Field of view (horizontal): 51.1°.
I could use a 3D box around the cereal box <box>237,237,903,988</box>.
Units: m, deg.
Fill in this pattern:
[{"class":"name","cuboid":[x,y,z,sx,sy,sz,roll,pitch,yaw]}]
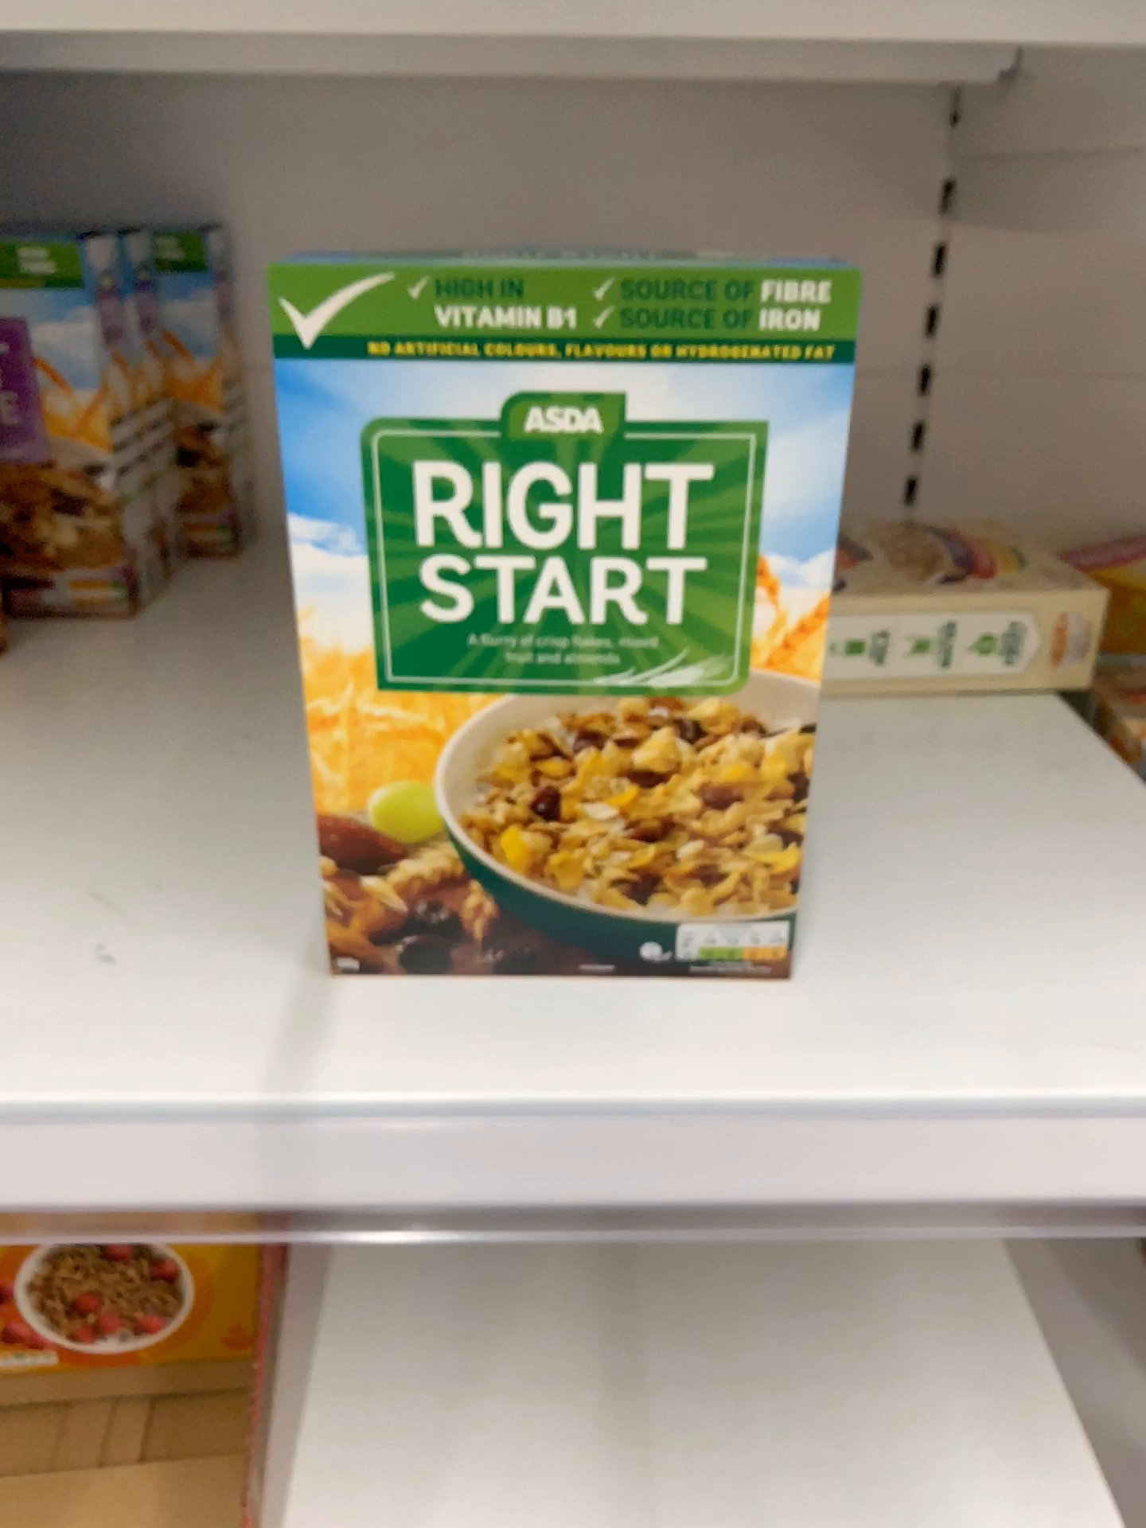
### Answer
[{"class":"cereal box","cuboid":[-0.002,-0.049,0.450,0.200,0.268,0.071,1,26,0]}]
